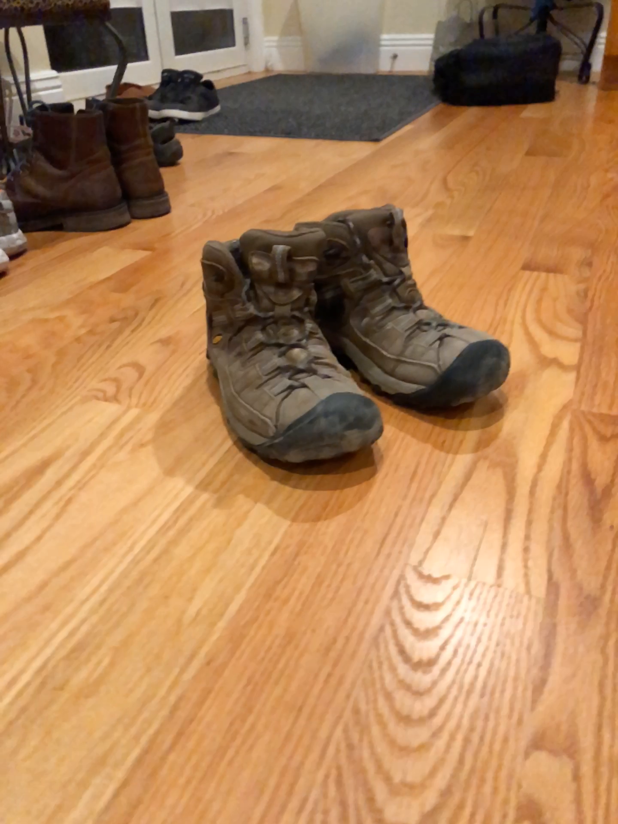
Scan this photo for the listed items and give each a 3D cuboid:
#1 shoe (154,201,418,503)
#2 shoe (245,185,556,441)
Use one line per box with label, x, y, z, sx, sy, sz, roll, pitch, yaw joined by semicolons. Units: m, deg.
shoe;-0.032;-0.069;0.559;0.108;0.139;0.260;-15;33;-21
shoe;0.067;-0.105;0.615;0.108;0.139;0.260;-24;37;-33
